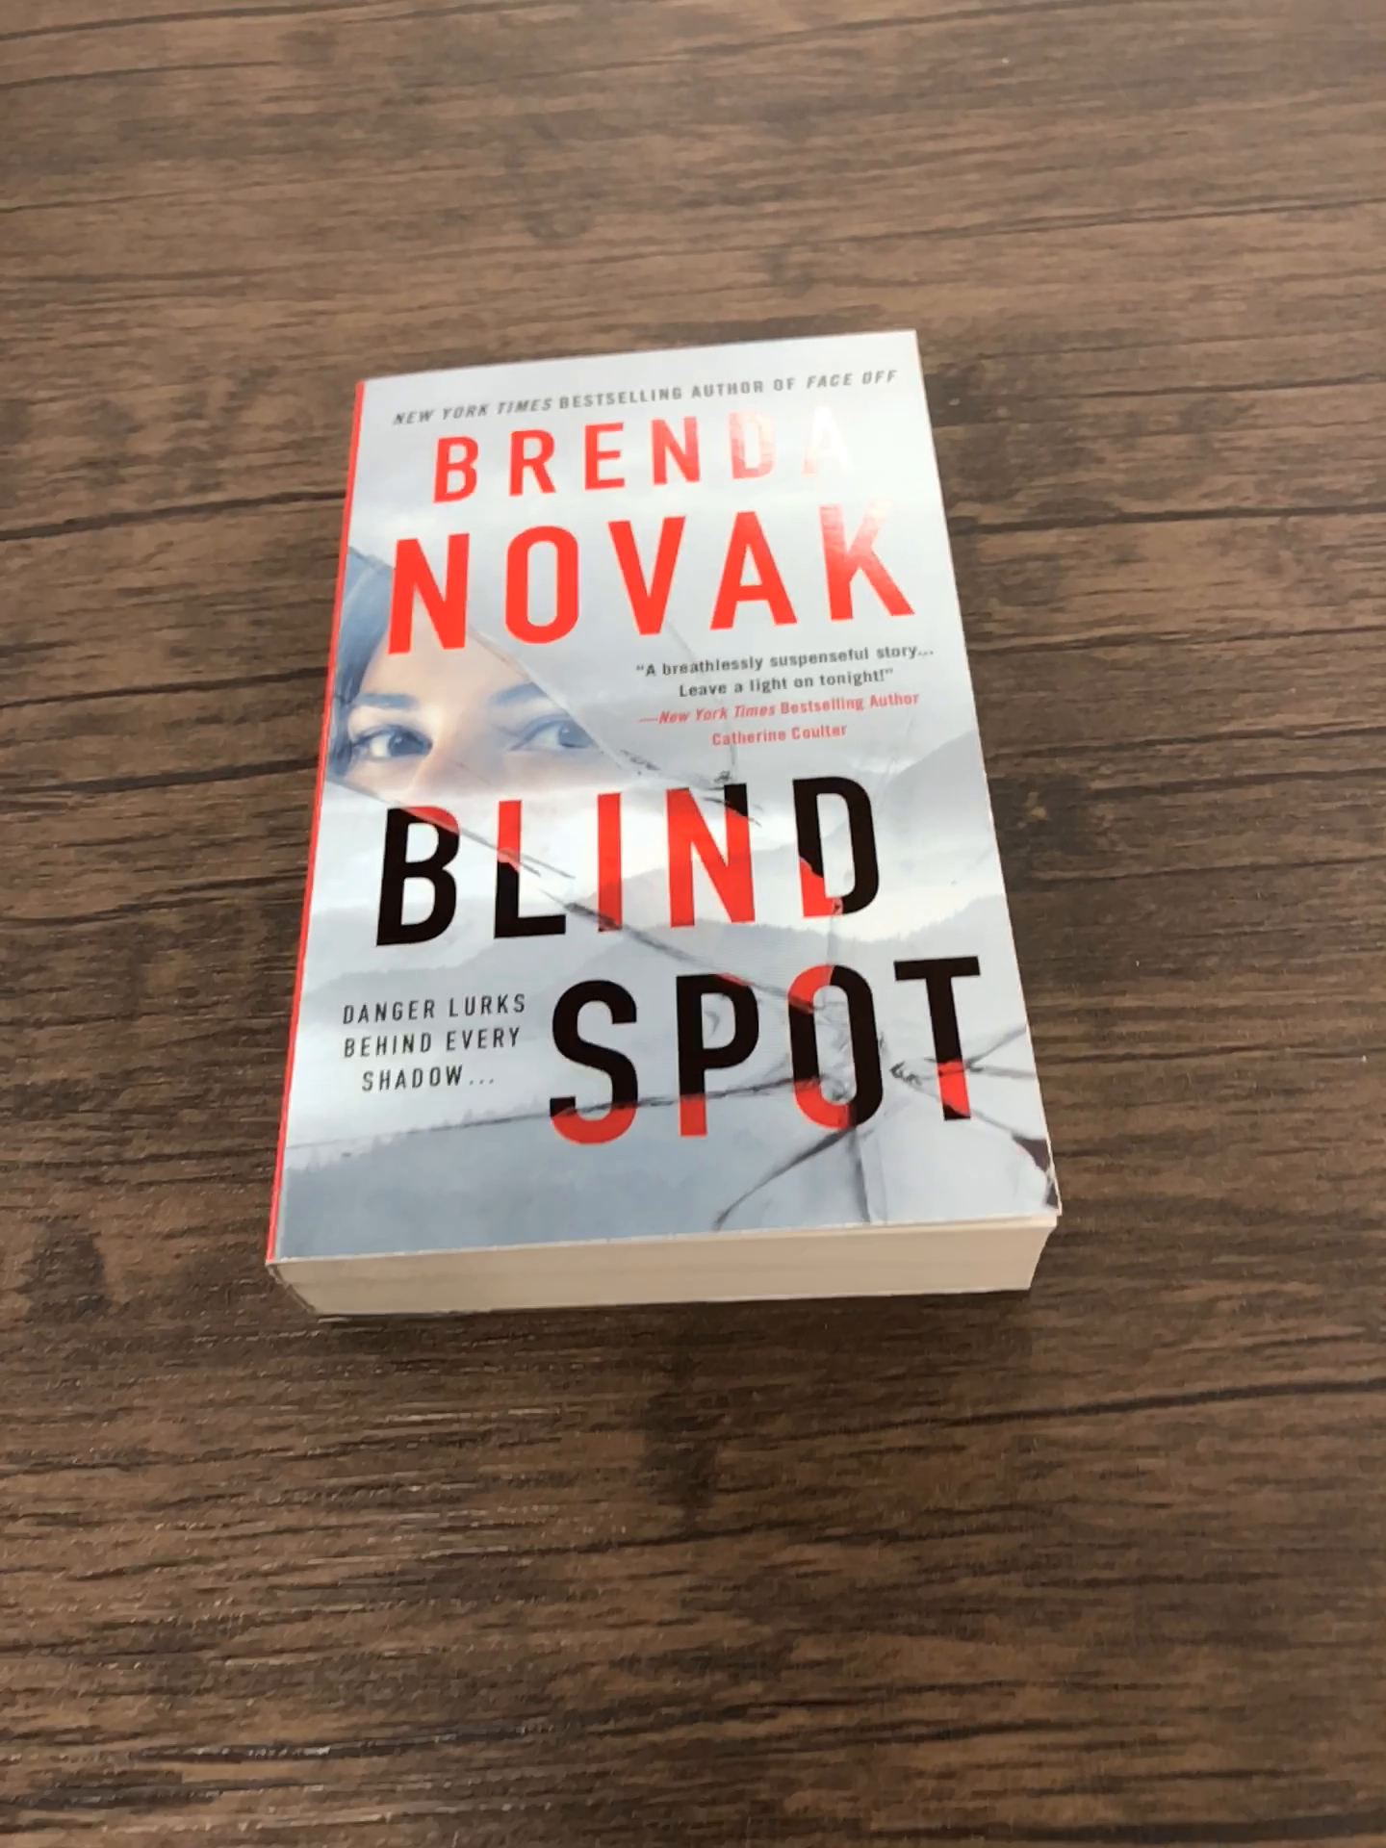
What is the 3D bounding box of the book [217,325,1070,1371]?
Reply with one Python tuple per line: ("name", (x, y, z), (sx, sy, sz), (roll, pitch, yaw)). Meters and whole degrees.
("book", (-0.009, -0.021, 0.259), (0.109, 0.039, 0.175), (-3, 60, 1))
